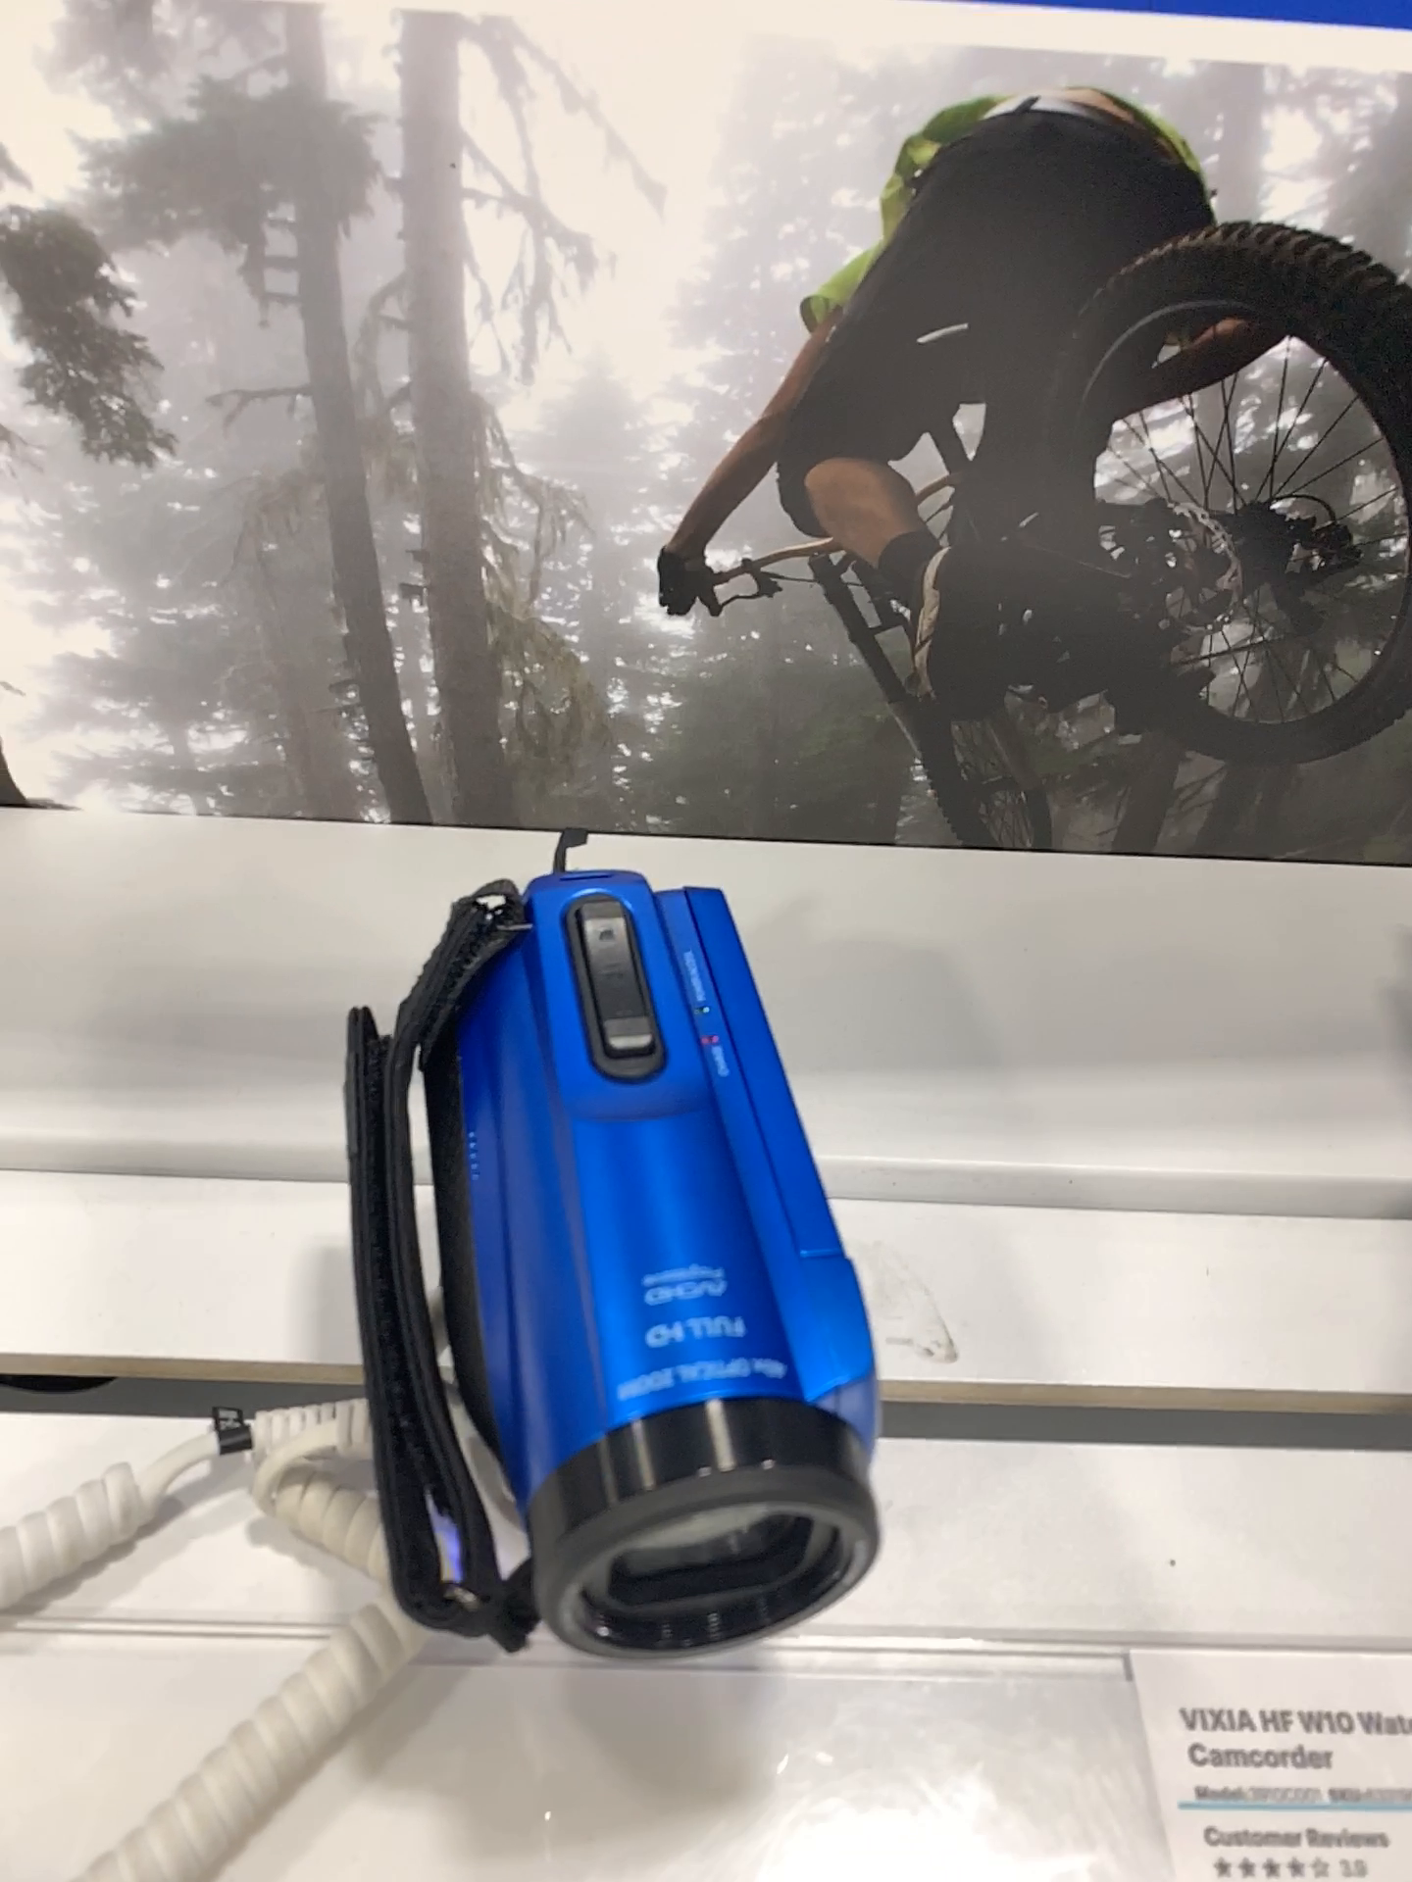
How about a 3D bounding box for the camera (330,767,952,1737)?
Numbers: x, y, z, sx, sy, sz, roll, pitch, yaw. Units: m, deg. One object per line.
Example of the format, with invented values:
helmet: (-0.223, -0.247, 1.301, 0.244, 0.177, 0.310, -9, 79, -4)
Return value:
camera: (-0.022, 0.039, 0.243, 0.072, 0.057, 0.144, -5, 44, -12)
